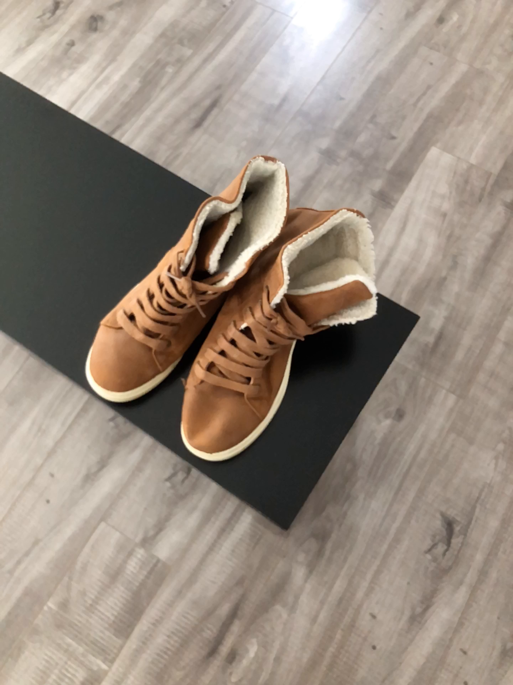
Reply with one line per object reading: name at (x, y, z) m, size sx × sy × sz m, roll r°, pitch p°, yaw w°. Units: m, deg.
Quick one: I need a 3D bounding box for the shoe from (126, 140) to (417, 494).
shoe at (0.019, -0.016, 0.502) m, size 0.110 × 0.140 × 0.260 m, roll 28°, pitch 73°, yaw 10°

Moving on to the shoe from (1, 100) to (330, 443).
shoe at (-0.065, -0.057, 0.516) m, size 0.110 × 0.150 × 0.260 m, roll 38°, pitch 75°, yaw 13°
